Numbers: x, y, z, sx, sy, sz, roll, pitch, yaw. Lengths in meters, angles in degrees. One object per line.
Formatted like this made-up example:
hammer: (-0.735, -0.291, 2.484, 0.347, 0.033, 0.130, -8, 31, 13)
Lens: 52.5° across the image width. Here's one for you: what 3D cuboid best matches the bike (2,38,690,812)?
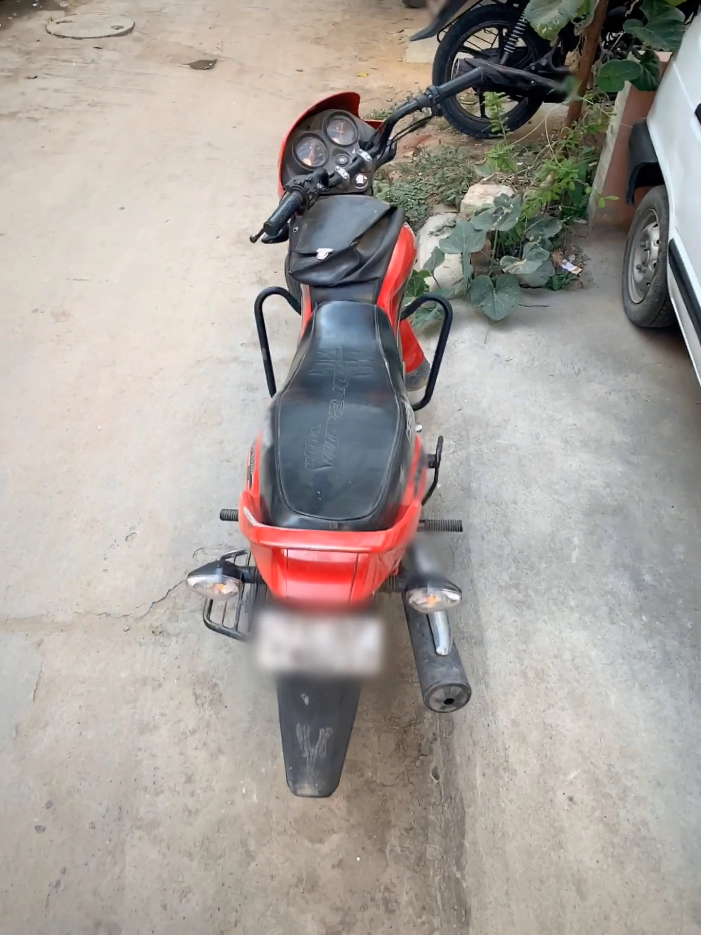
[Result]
bike: (-0.096, -0.214, 1.789, 0.758, 1.092, 1.716, -2, 46, -4)
